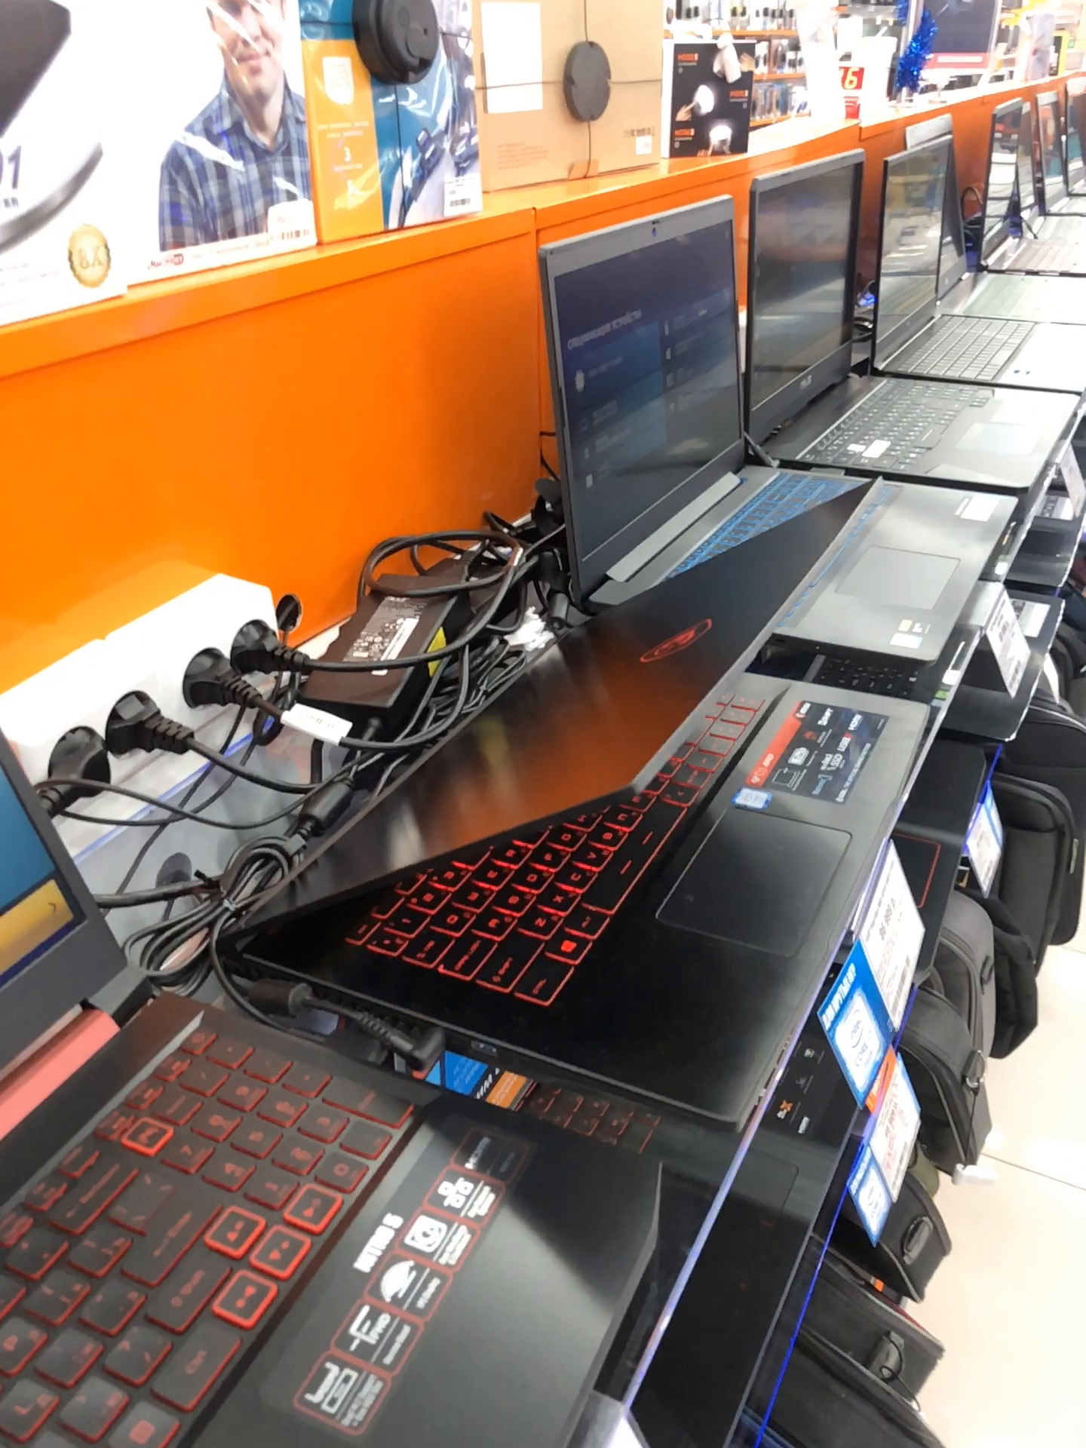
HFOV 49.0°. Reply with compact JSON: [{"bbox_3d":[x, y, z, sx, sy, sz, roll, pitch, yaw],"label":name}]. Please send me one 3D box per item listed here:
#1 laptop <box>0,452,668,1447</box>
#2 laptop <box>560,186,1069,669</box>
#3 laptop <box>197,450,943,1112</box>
[{"bbox_3d":[-0.196,0.107,0.287,0.329,0.225,0.367,12,31,23],"label":"laptop"},{"bbox_3d":[0.204,-0.251,0.894,0.278,0.228,0.327,15,35,28],"label":"laptop"},{"bbox_3d":[0.042,-0.014,0.591,0.225,0.134,0.348,12,31,24],"label":"laptop"}]
